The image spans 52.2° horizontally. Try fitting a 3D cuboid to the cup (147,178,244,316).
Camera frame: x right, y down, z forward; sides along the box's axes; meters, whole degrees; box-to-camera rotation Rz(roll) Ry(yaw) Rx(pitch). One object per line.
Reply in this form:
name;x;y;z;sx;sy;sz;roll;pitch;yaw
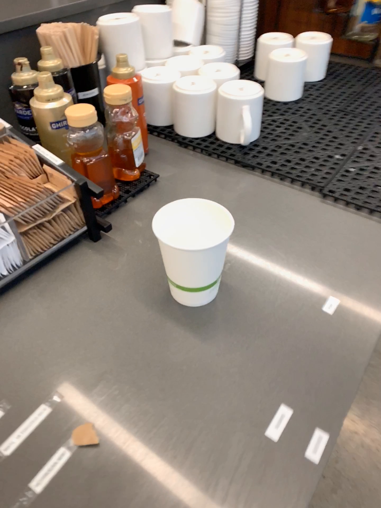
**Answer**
cup;0.004;-0.007;0.441;0.080;0.119;0.080;-1;43;1
